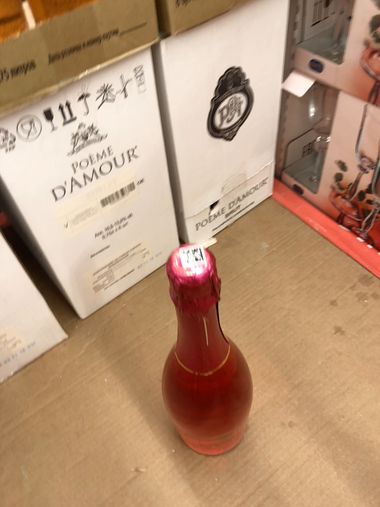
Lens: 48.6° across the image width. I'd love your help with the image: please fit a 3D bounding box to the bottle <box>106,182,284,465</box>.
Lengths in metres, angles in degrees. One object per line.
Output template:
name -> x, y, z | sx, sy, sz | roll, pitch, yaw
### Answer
bottle -> 0.011, 0.095, 0.393 | 0.090, 0.320, 0.090 | -3, 51, 3
